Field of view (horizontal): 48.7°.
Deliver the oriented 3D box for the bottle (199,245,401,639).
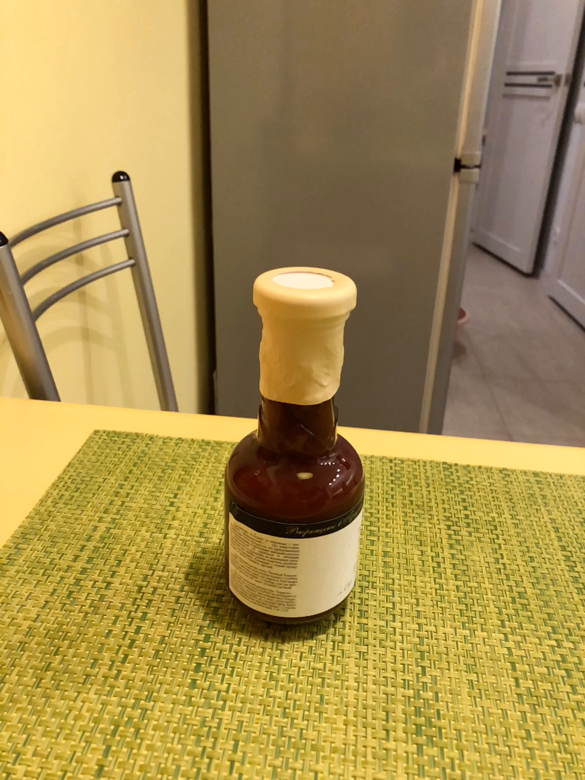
[{"bbox_3d":[-0.002,0.024,0.288,0.070,0.159,0.070,2,25,-1],"label":"bottle"}]
